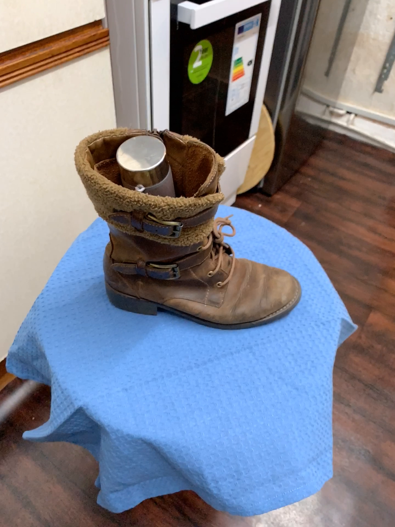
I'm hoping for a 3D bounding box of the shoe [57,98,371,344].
[{"bbox_3d":[0.015,-0.031,0.448,0.250,0.228,0.121,8,55,3],"label":"shoe"}]
